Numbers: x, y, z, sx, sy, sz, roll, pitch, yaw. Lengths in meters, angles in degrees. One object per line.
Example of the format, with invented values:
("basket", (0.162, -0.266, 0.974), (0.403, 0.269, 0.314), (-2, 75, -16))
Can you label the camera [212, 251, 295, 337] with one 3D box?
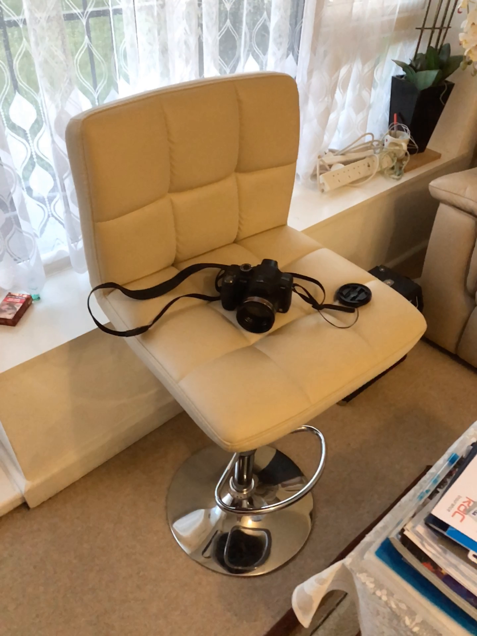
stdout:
("camera", (0.024, -0.039, 0.812), (0.111, 0.076, 0.098), (8, 41, 6))
